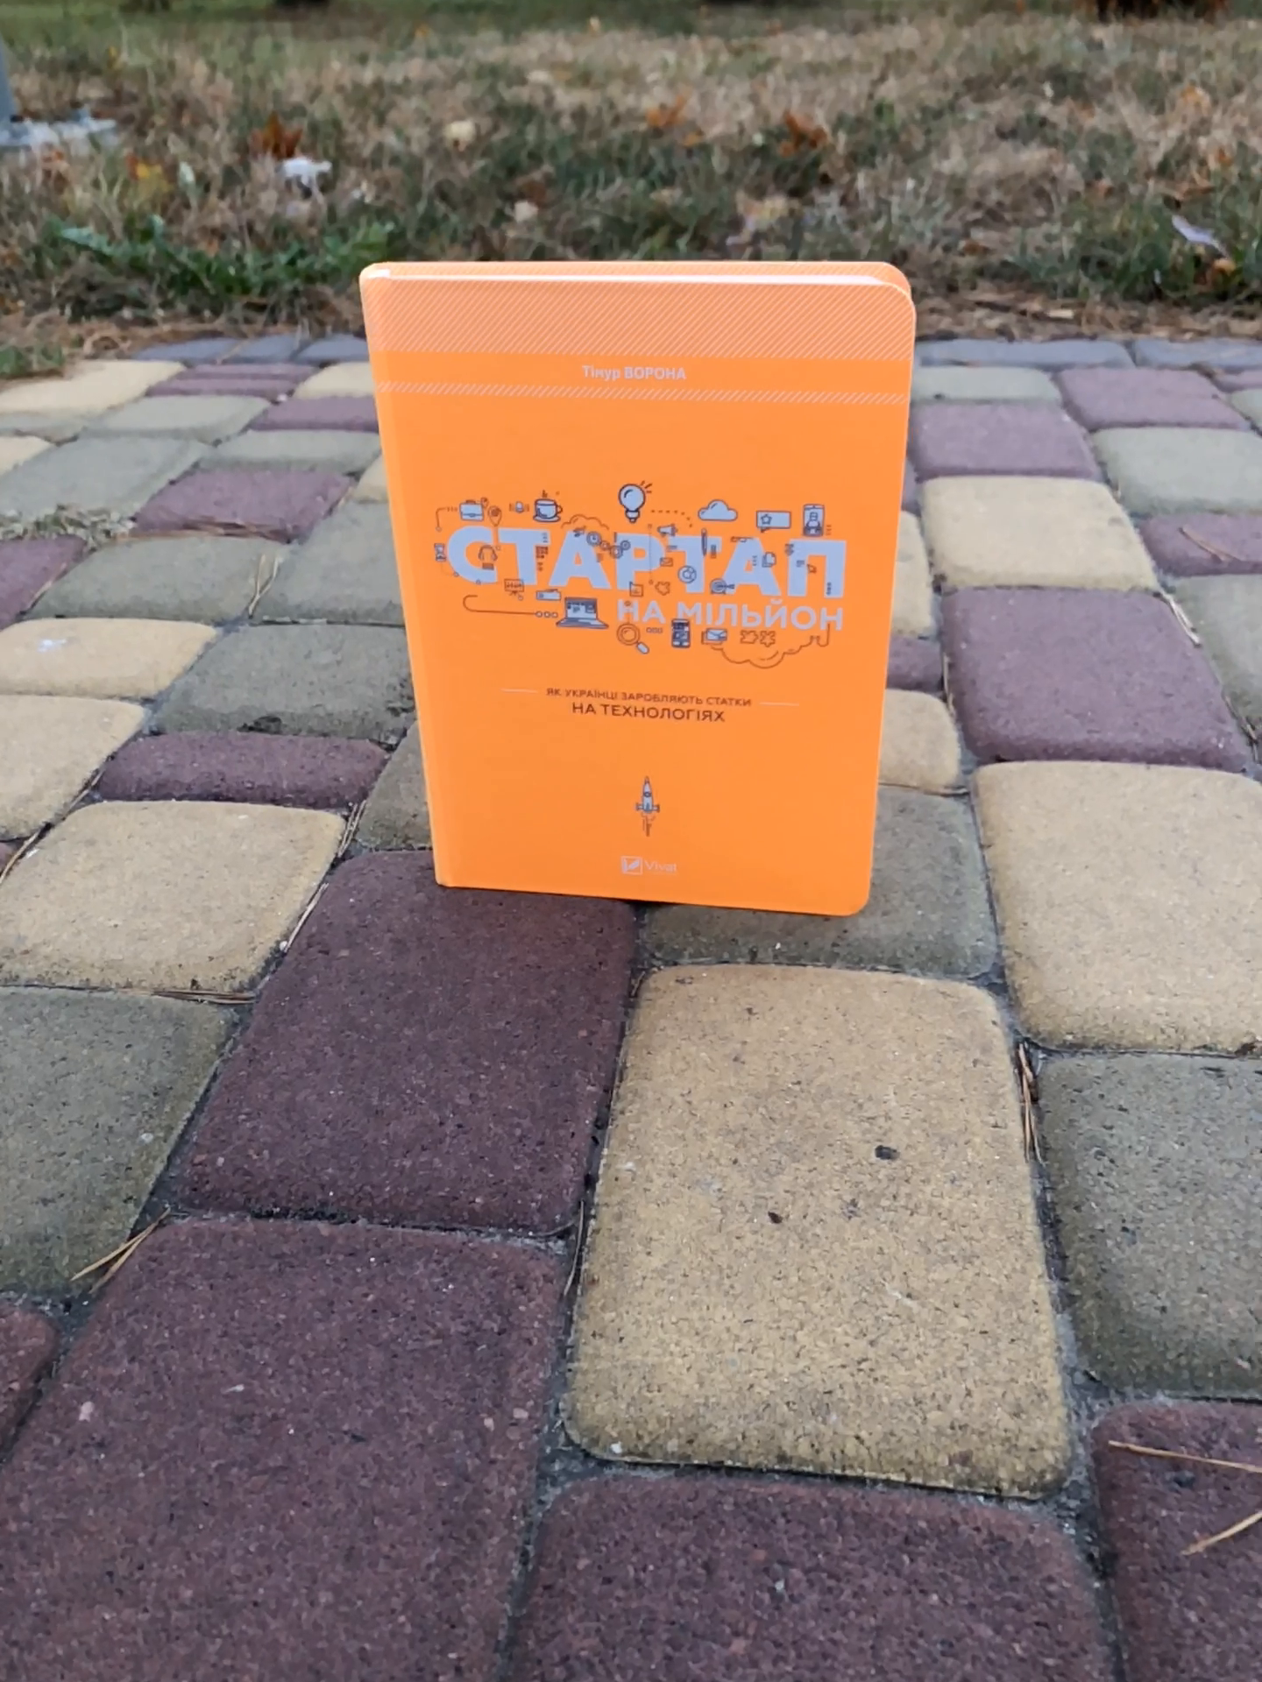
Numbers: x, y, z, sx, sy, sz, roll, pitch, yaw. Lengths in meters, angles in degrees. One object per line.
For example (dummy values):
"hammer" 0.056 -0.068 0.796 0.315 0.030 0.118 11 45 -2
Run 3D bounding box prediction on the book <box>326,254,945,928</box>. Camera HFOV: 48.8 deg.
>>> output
"book" 0.005 -0.072 0.434 0.164 0.200 0.040 4 33 9
